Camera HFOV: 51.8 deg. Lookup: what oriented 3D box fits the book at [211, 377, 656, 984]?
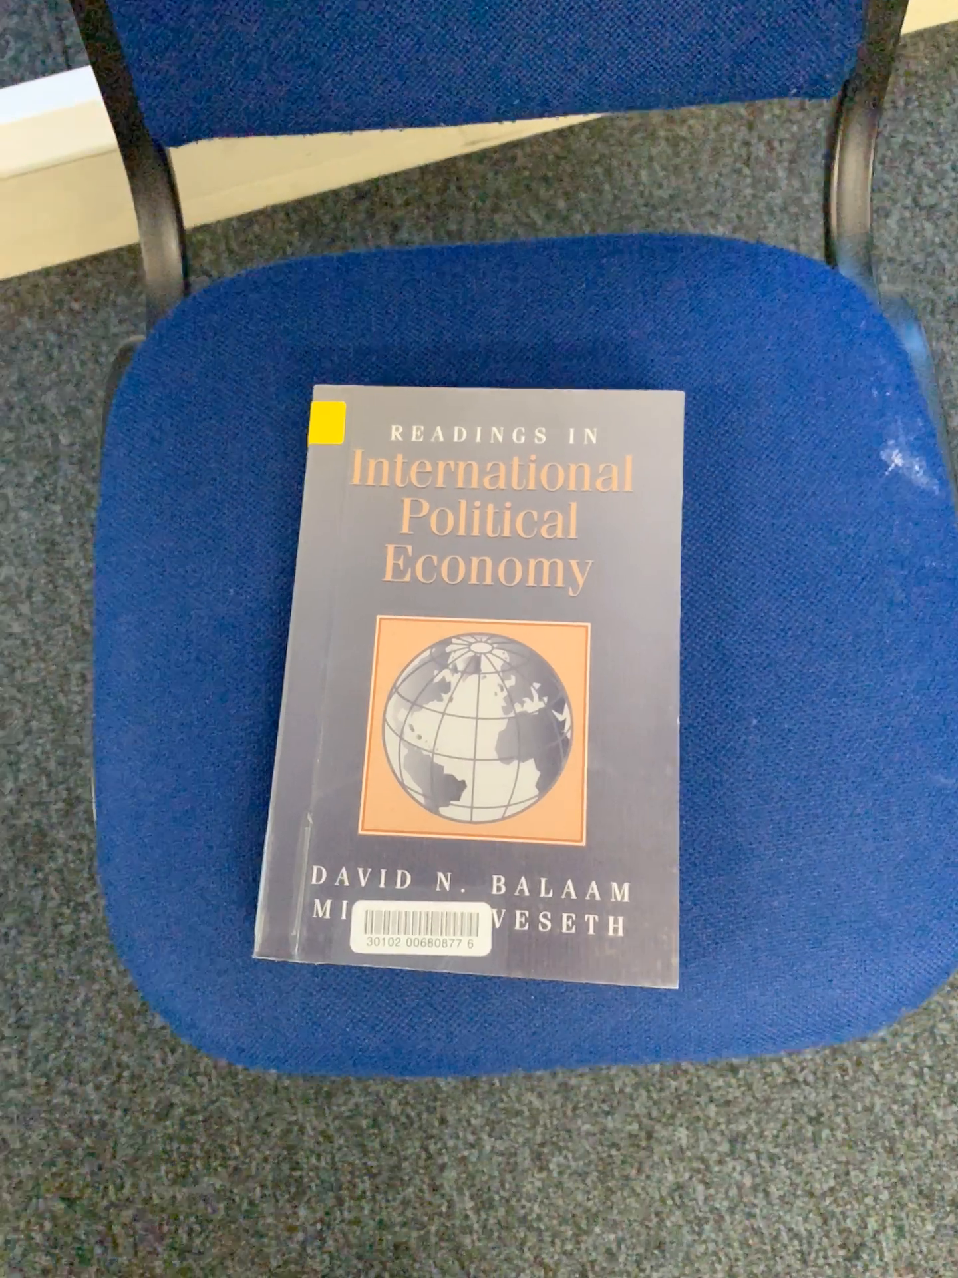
[{"bbox_3d":[-0.011,0.009,0.374,0.150,0.030,0.220,2,76,3],"label":"book"}]
